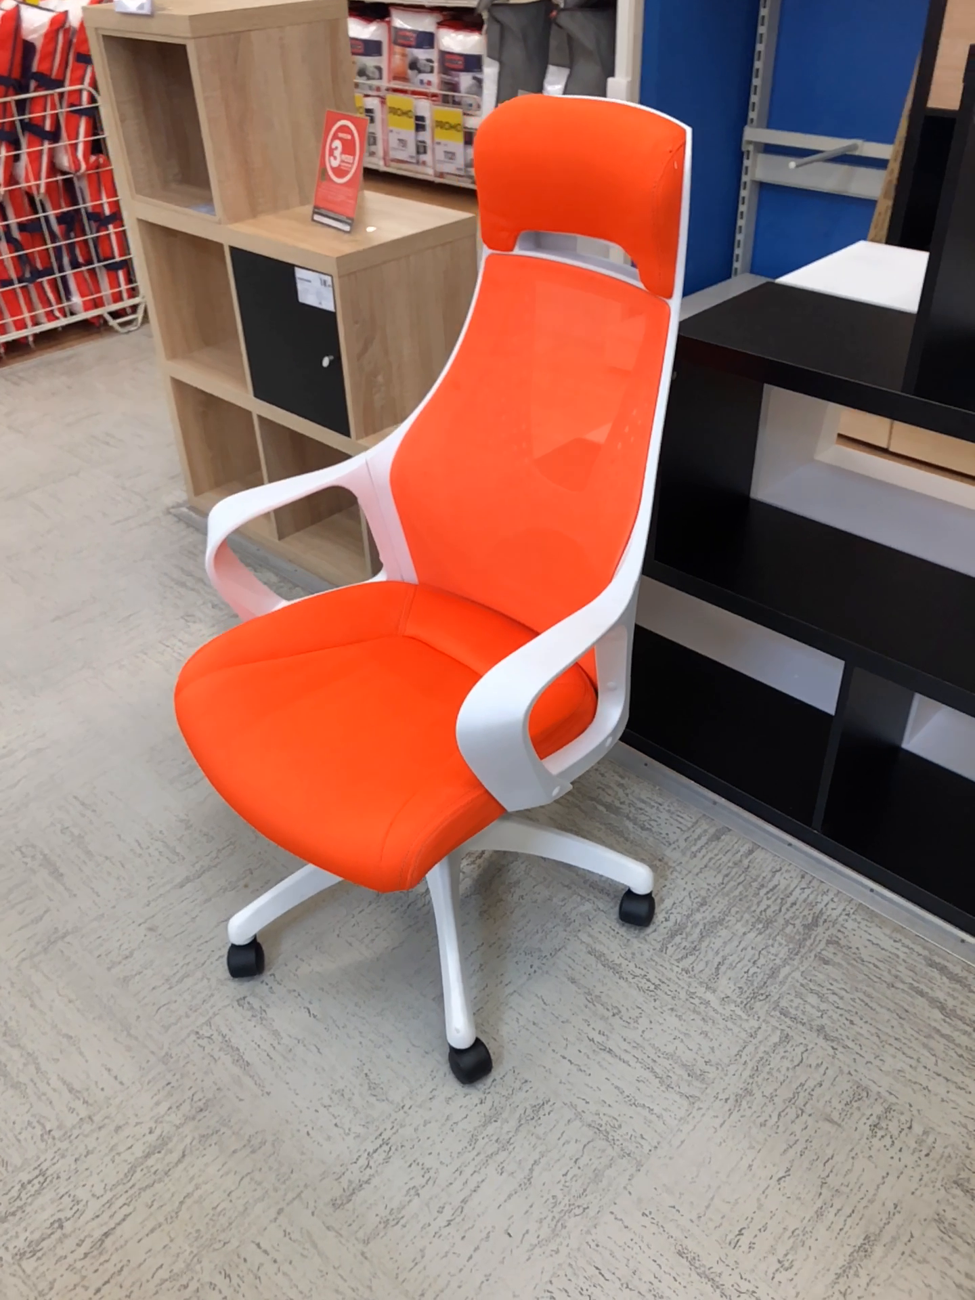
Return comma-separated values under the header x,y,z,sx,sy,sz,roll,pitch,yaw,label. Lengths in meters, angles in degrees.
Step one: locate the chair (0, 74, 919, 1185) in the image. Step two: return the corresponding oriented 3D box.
x,y,z,sx,sy,sz,roll,pitch,yaw,label
-0.052,-0.086,1.387,0.754,1.053,0.681,-29,43,-33,chair
